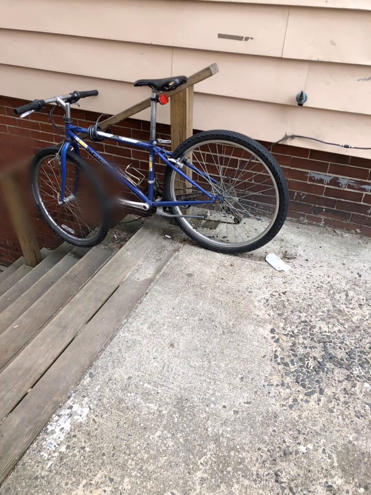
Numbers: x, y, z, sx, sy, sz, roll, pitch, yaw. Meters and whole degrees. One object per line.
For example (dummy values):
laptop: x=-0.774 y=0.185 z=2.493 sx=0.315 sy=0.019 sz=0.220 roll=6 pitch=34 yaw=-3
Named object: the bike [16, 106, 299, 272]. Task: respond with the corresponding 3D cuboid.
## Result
bike: x=-0.187 y=-0.370 z=2.275 sx=1.521 sy=0.619 sz=0.535 roll=7 pitch=34 yaw=25
